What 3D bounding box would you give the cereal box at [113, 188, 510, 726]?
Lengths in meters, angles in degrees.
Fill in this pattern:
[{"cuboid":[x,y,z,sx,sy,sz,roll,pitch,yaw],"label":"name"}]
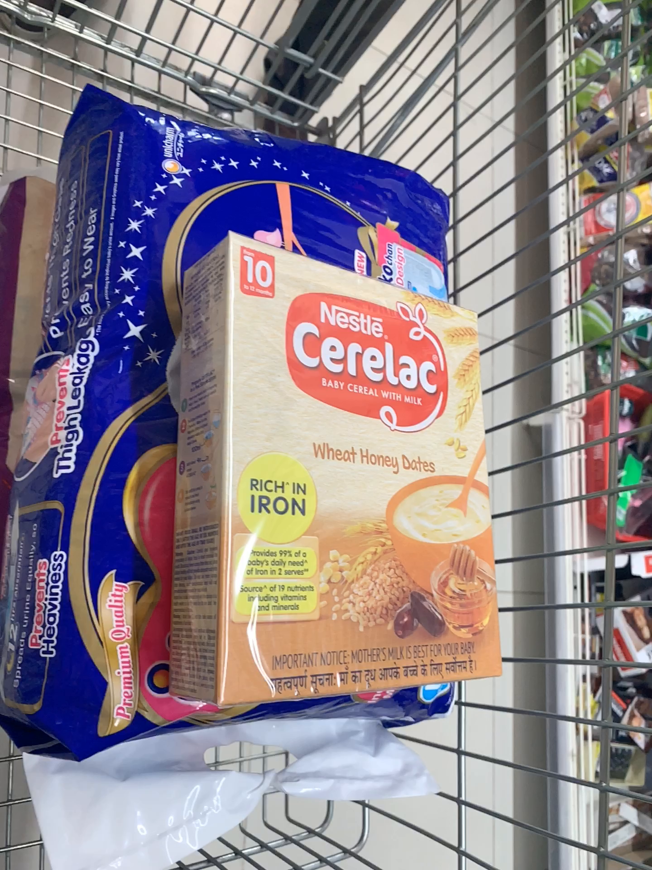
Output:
[{"cuboid":[-0.001,0.015,0.303,0.161,0.060,0.190,8,74,-34],"label":"cereal box"}]
